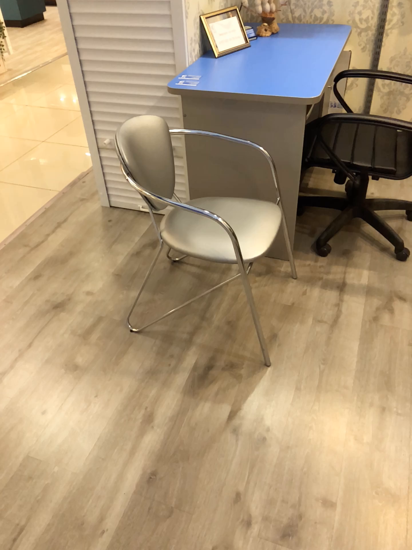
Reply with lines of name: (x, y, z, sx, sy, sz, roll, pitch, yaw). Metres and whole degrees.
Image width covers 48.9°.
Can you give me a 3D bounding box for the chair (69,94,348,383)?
chair: (0.061, -0.162, 1.683, 0.730, 0.746, 0.613, 11, 42, 17)
